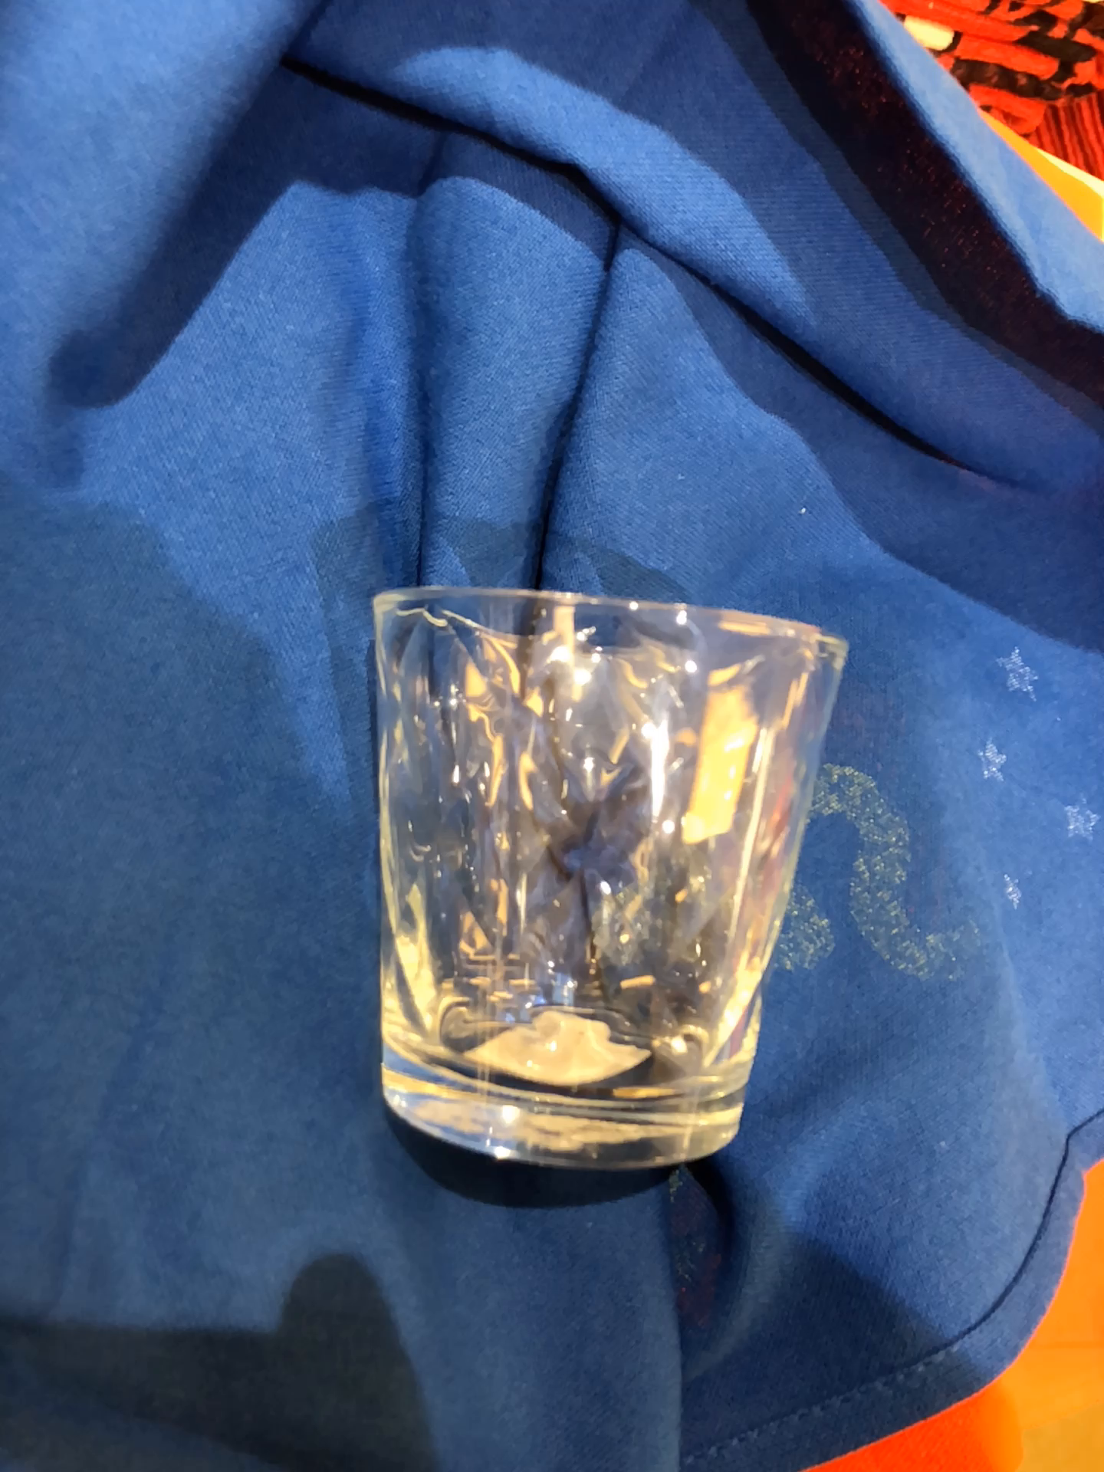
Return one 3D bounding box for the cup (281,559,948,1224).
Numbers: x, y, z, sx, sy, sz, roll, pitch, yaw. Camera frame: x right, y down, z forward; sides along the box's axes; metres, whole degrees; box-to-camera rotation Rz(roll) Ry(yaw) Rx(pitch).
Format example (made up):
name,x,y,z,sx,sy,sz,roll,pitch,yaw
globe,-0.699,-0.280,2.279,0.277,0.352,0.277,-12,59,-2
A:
name,x,y,z,sx,sy,sz,roll,pitch,yaw
cup,0.007,0.020,0.213,0.080,0.070,0.090,5,94,-30
